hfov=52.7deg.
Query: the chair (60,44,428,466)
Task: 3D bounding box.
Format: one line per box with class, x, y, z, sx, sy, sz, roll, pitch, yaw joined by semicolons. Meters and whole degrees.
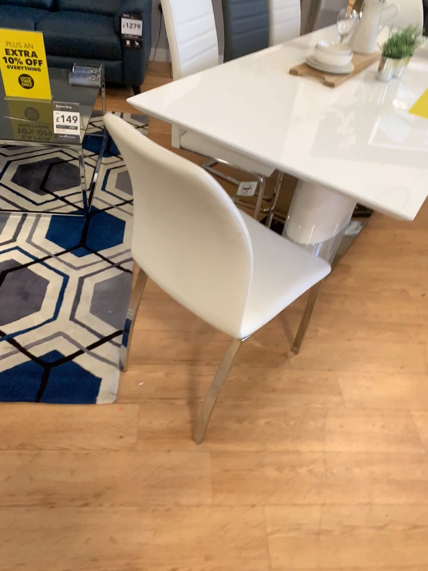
chair;0.048;-0.091;1.211;0.517;0.863;0.632;35;48;26
